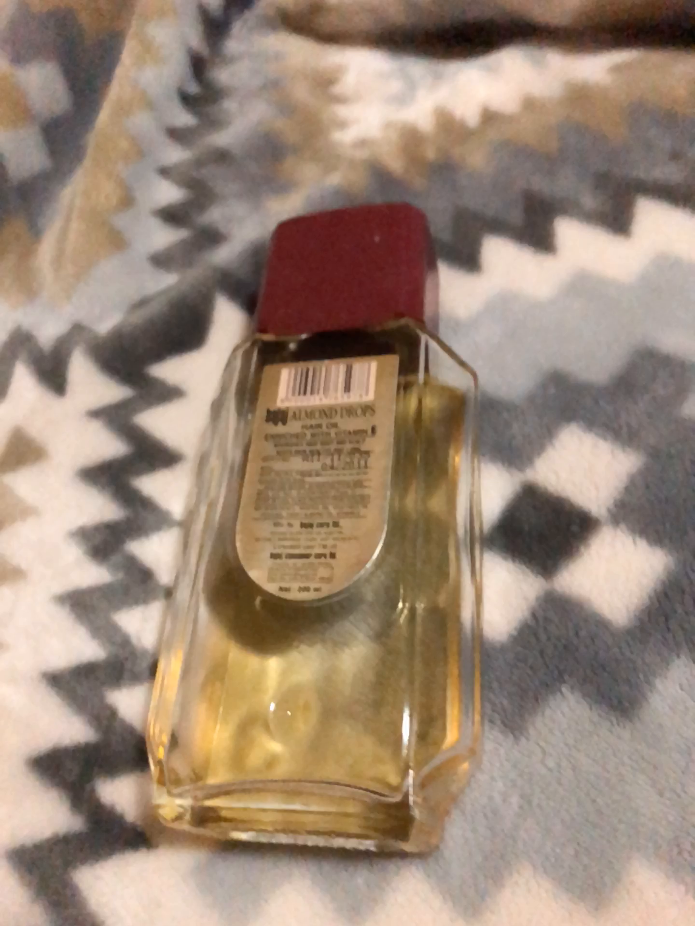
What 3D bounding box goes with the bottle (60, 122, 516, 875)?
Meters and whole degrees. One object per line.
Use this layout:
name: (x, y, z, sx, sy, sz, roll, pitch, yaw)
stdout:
bottle: (-0.002, -0.005, 0.202, 0.080, 0.040, 0.190, -4, 56, 15)
